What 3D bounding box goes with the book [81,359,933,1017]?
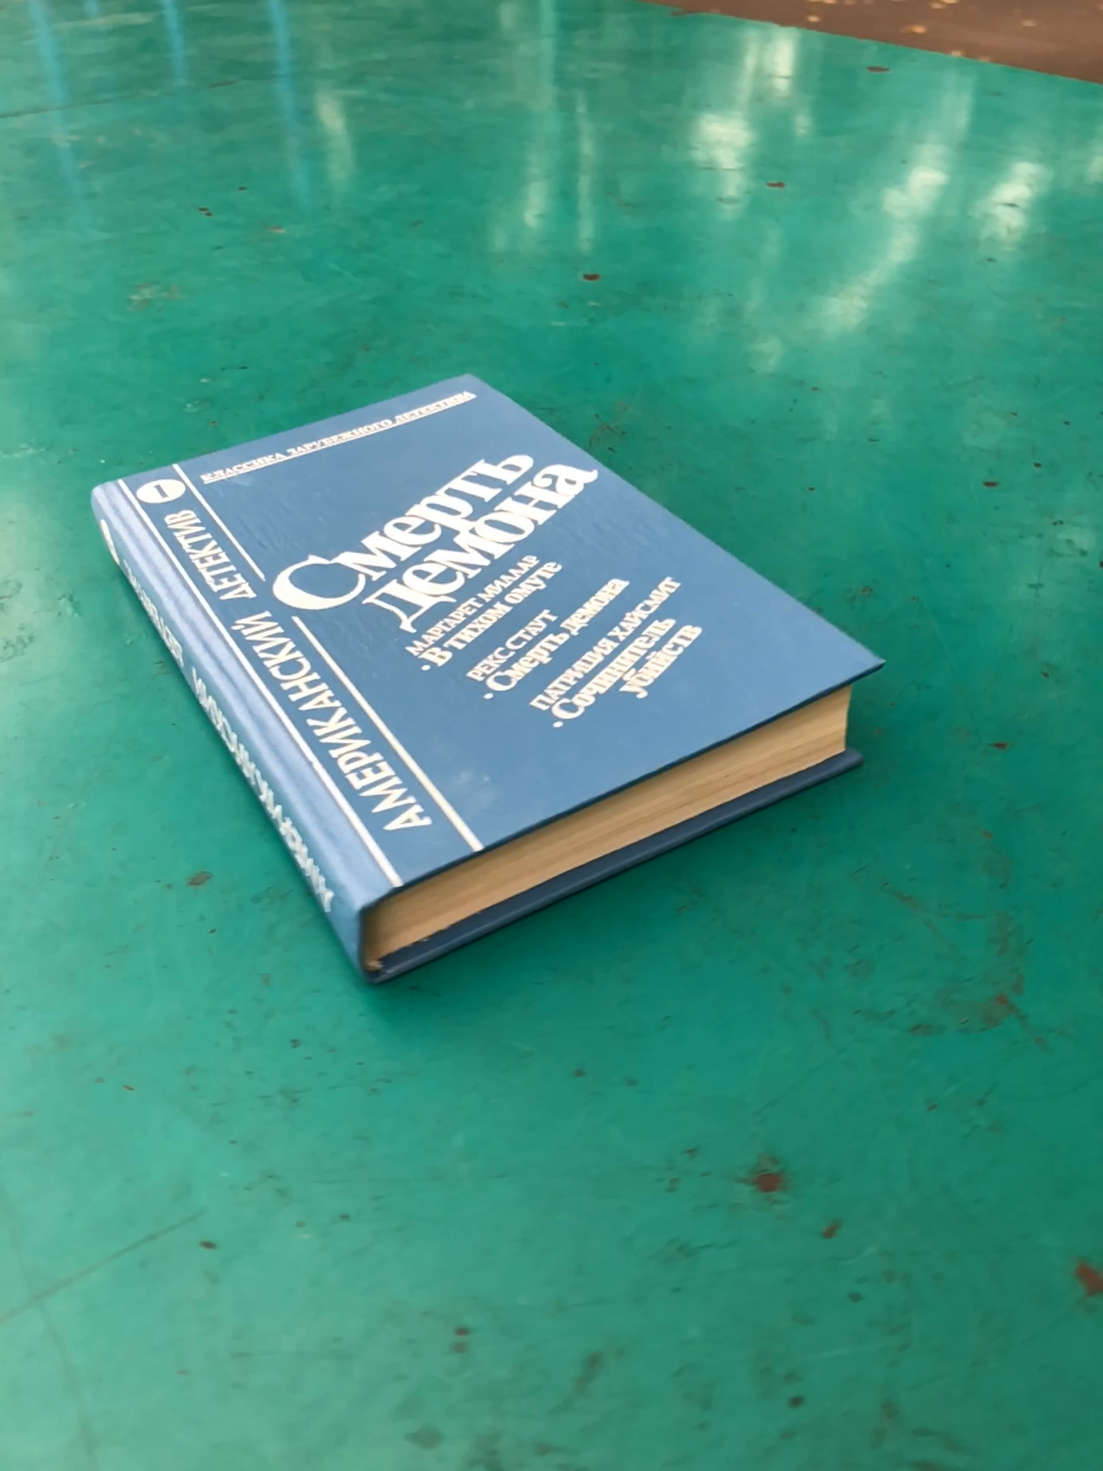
[{"bbox_3d":[-0.028,-0.037,0.335,0.142,0.034,0.213,-23,42,-21],"label":"book"}]
